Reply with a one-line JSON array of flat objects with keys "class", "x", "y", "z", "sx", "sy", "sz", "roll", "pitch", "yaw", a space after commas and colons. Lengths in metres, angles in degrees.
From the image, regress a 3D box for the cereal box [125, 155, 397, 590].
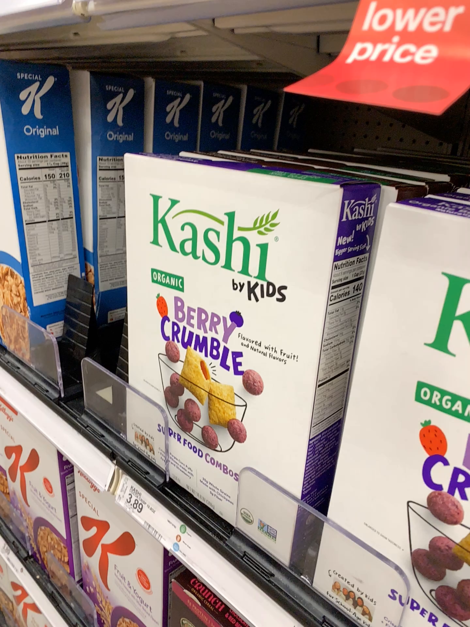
[{"class": "cereal box", "x": -0.003, "y": 0.035, "z": 0.371, "sx": 0.190, "sy": 0.279, "sz": 0.050, "roll": 22, "pitch": 28, "yaw": 37}]
